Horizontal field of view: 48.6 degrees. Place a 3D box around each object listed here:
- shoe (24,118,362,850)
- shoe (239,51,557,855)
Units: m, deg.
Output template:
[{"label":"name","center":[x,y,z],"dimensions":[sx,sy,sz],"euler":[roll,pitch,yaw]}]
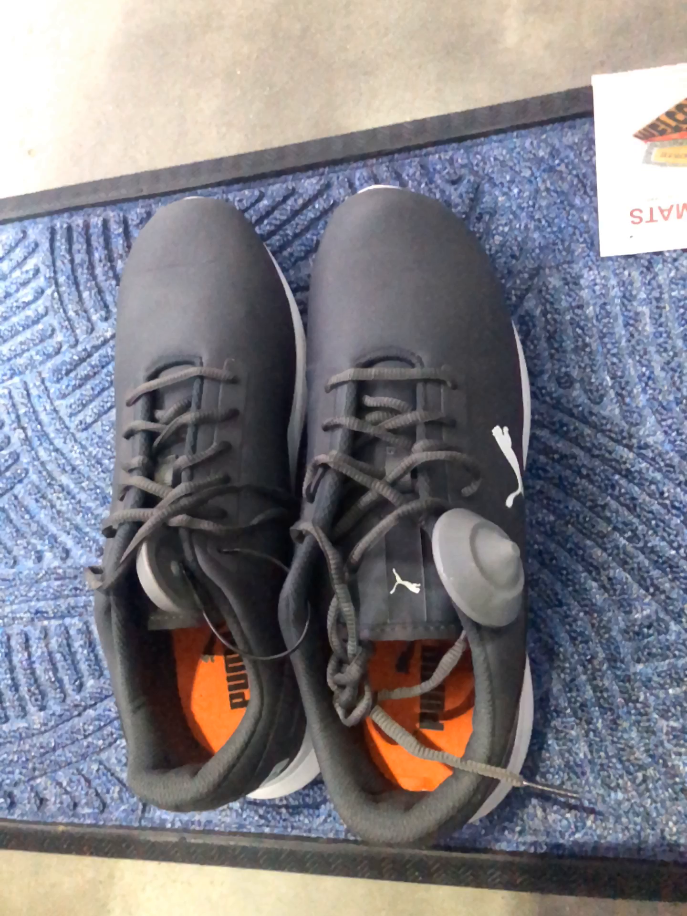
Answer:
[{"label":"shoe","center":[-0.071,0.013,0.371],"dimensions":[0.110,0.100,0.300],"euler":[-7,82,15]},{"label":"shoe","center":[0.028,-0.002,0.341],"dimensions":[0.100,0.100,0.300],"euler":[-6,82,15]}]
